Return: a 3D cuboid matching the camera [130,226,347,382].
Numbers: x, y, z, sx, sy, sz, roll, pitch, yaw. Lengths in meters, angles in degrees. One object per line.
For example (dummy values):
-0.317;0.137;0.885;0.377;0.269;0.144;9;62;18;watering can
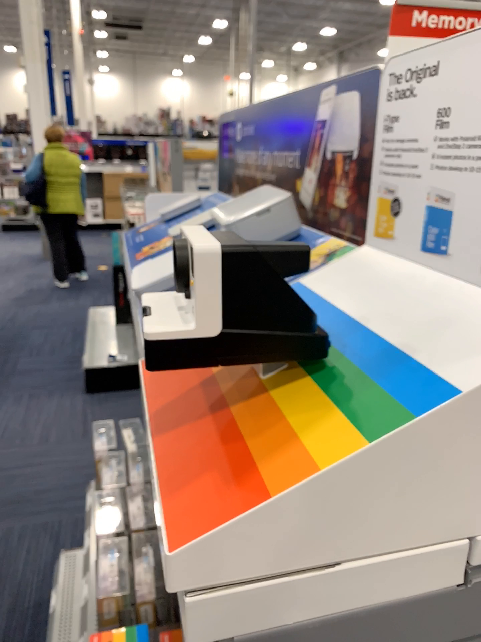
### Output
-0.011;-0.024;0.422;0.150;0.090;0.131;-4;19;-14;camera
